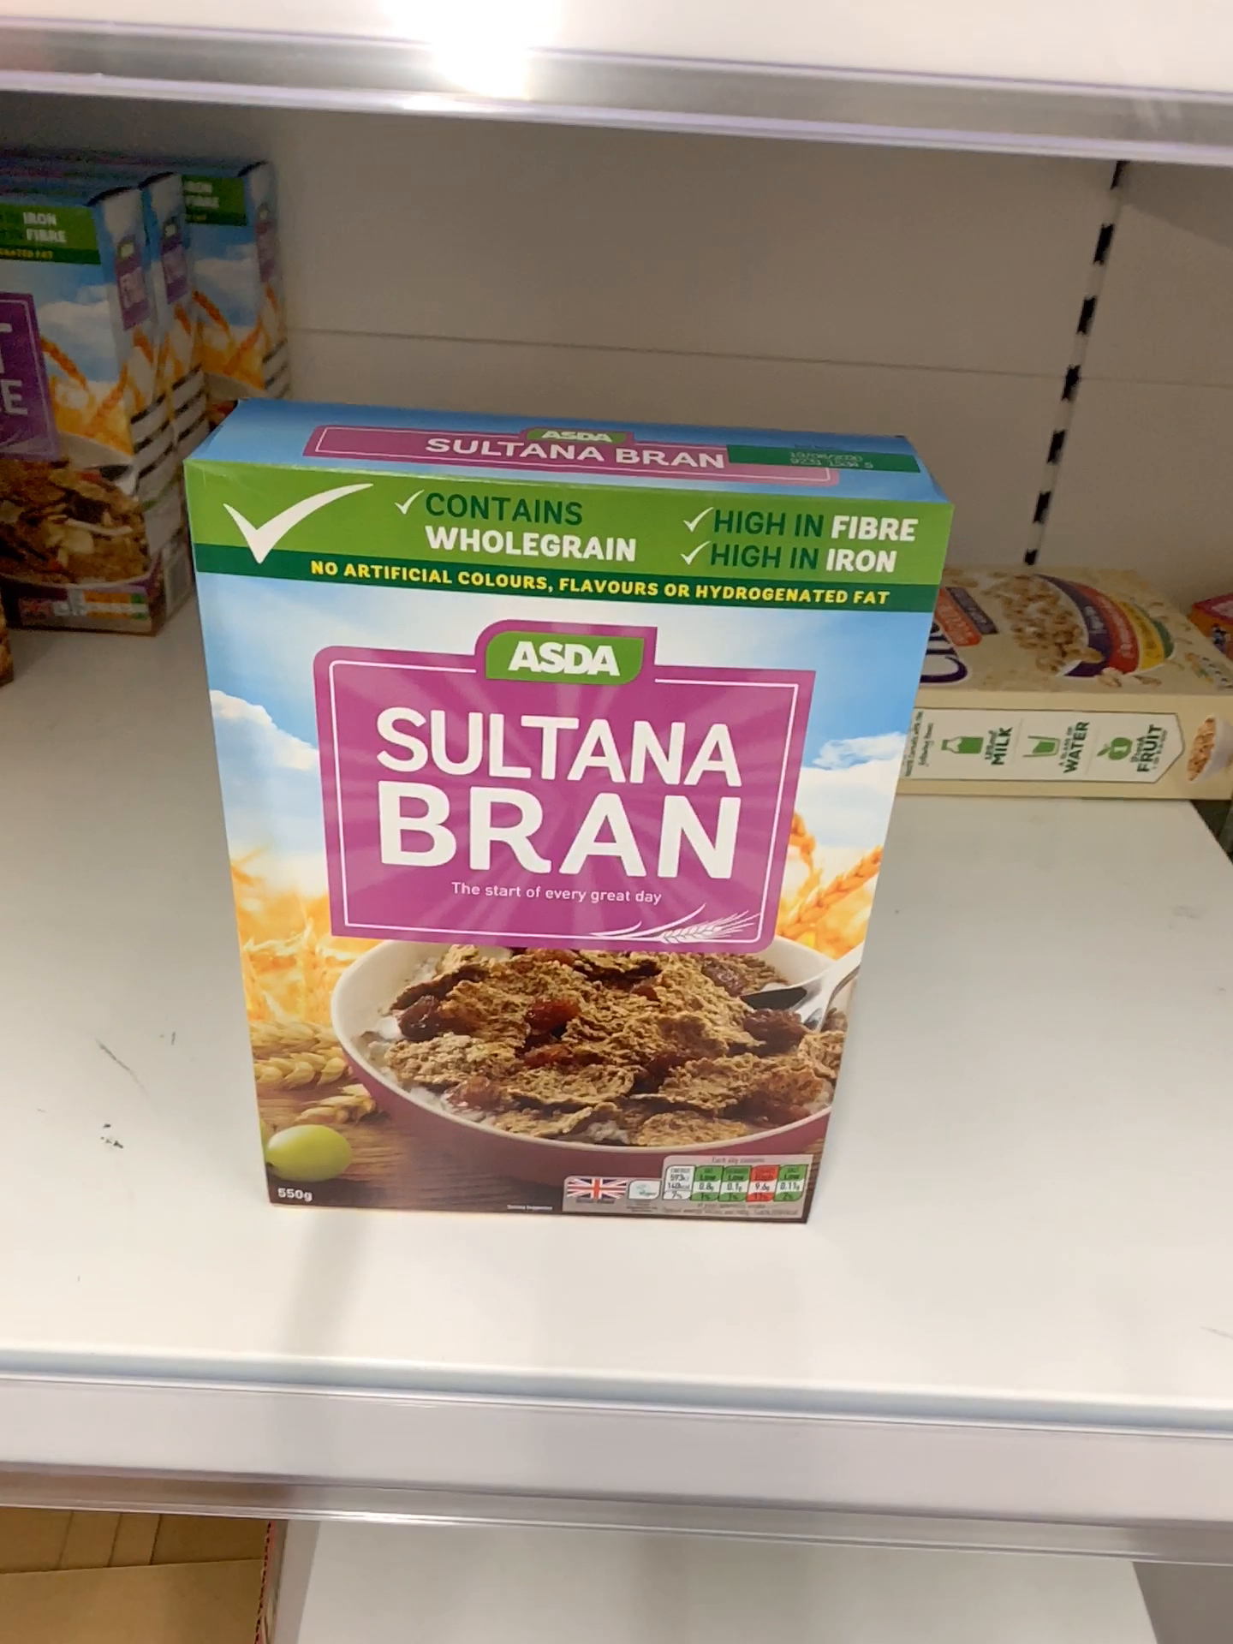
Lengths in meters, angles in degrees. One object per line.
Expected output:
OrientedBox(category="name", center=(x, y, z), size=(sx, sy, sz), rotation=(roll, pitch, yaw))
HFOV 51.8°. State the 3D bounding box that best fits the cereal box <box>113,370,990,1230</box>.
OrientedBox(category="cereal box", center=(-0.022, 0.008, 0.405), size=(0.210, 0.268, 0.071), rotation=(3, 33, -2))
